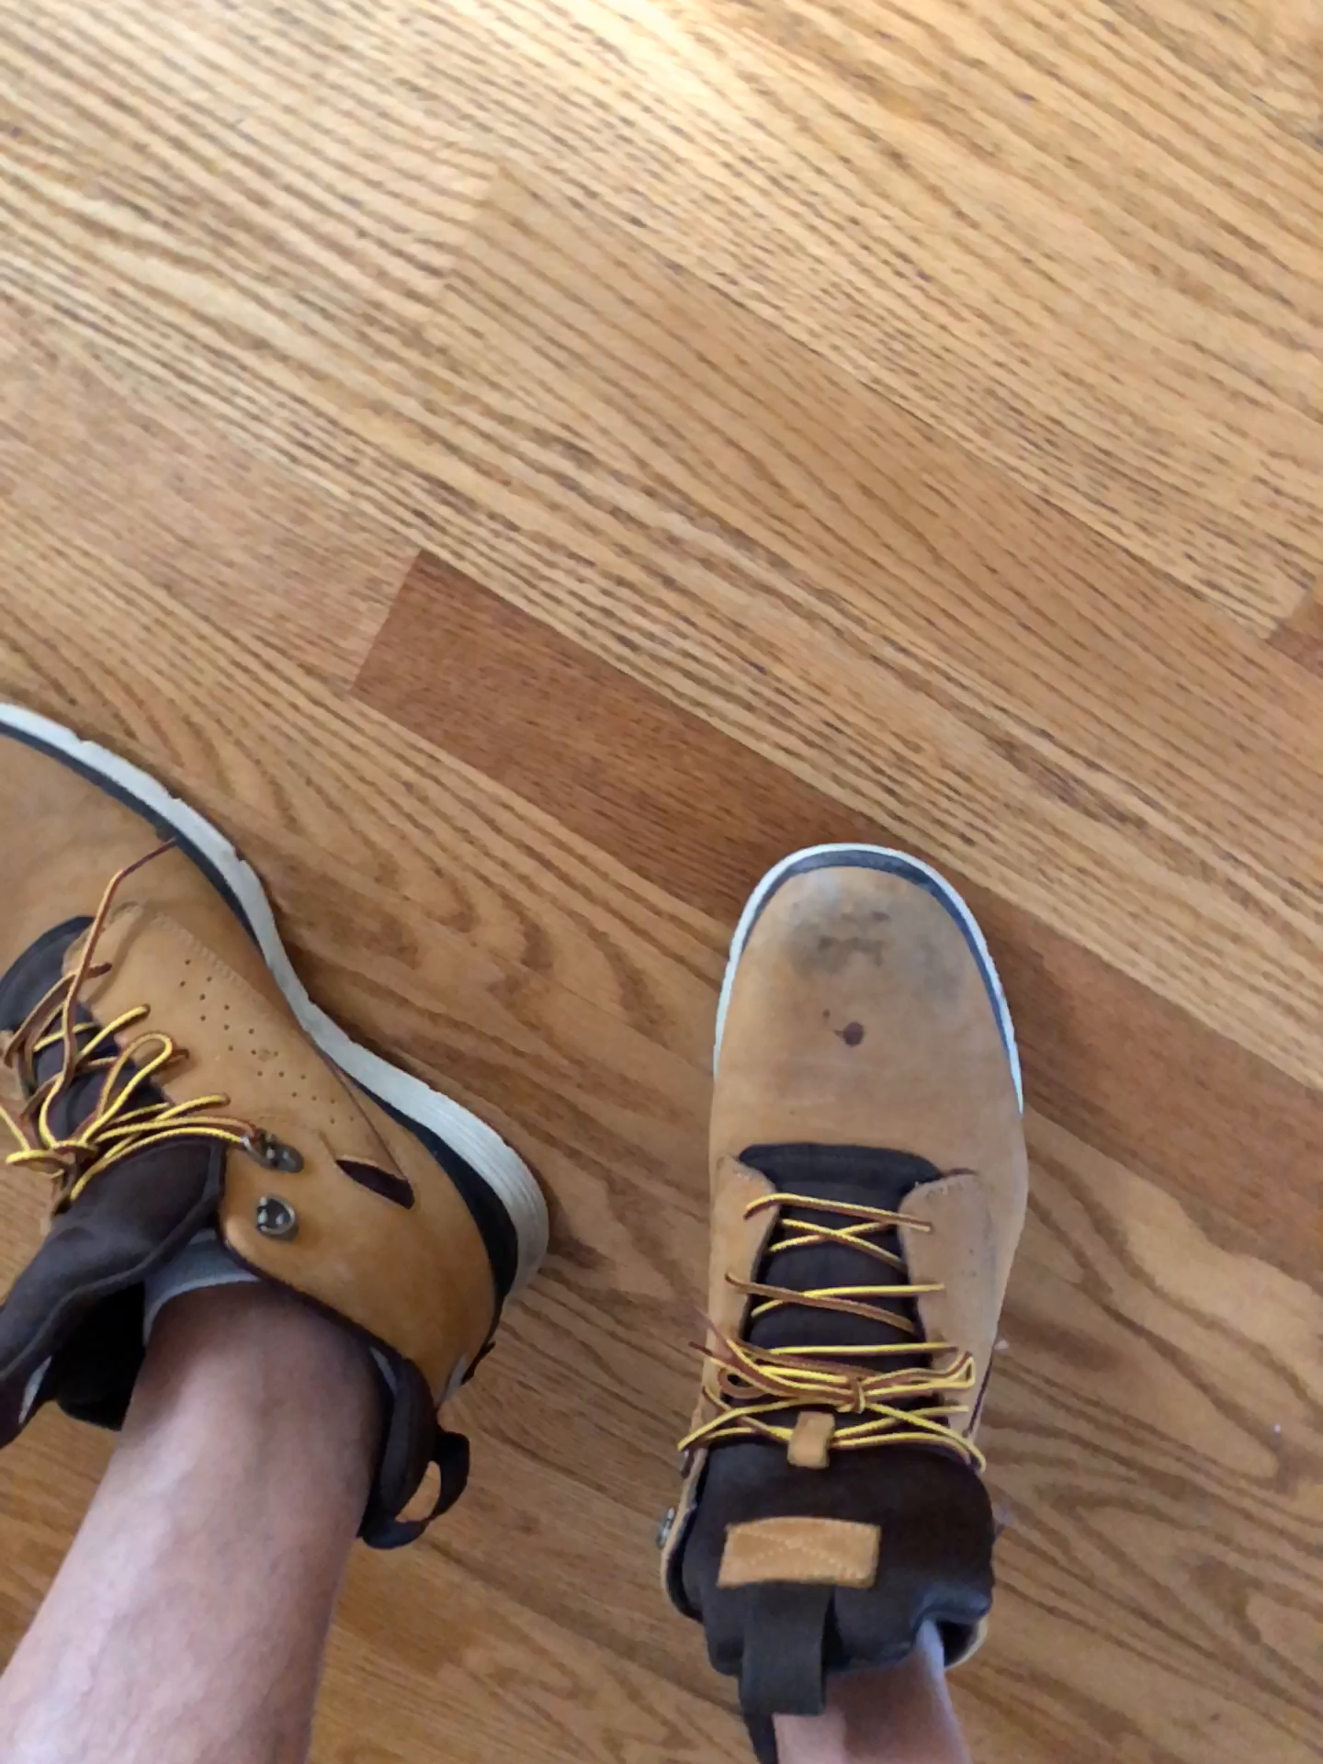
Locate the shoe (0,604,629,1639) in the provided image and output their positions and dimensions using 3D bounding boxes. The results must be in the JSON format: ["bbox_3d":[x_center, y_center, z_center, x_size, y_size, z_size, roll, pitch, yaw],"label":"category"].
[{"bbox_3d":[-0.182,0.071,0.514,0.130,0.140,0.320,-41,92,21],"label":"shoe"}]

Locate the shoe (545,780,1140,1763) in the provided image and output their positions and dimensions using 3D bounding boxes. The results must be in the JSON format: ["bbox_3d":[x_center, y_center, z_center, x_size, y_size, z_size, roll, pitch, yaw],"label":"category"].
[{"bbox_3d":[0.061,0.141,0.469,0.130,0.170,0.301,2,123,10],"label":"shoe"}]
